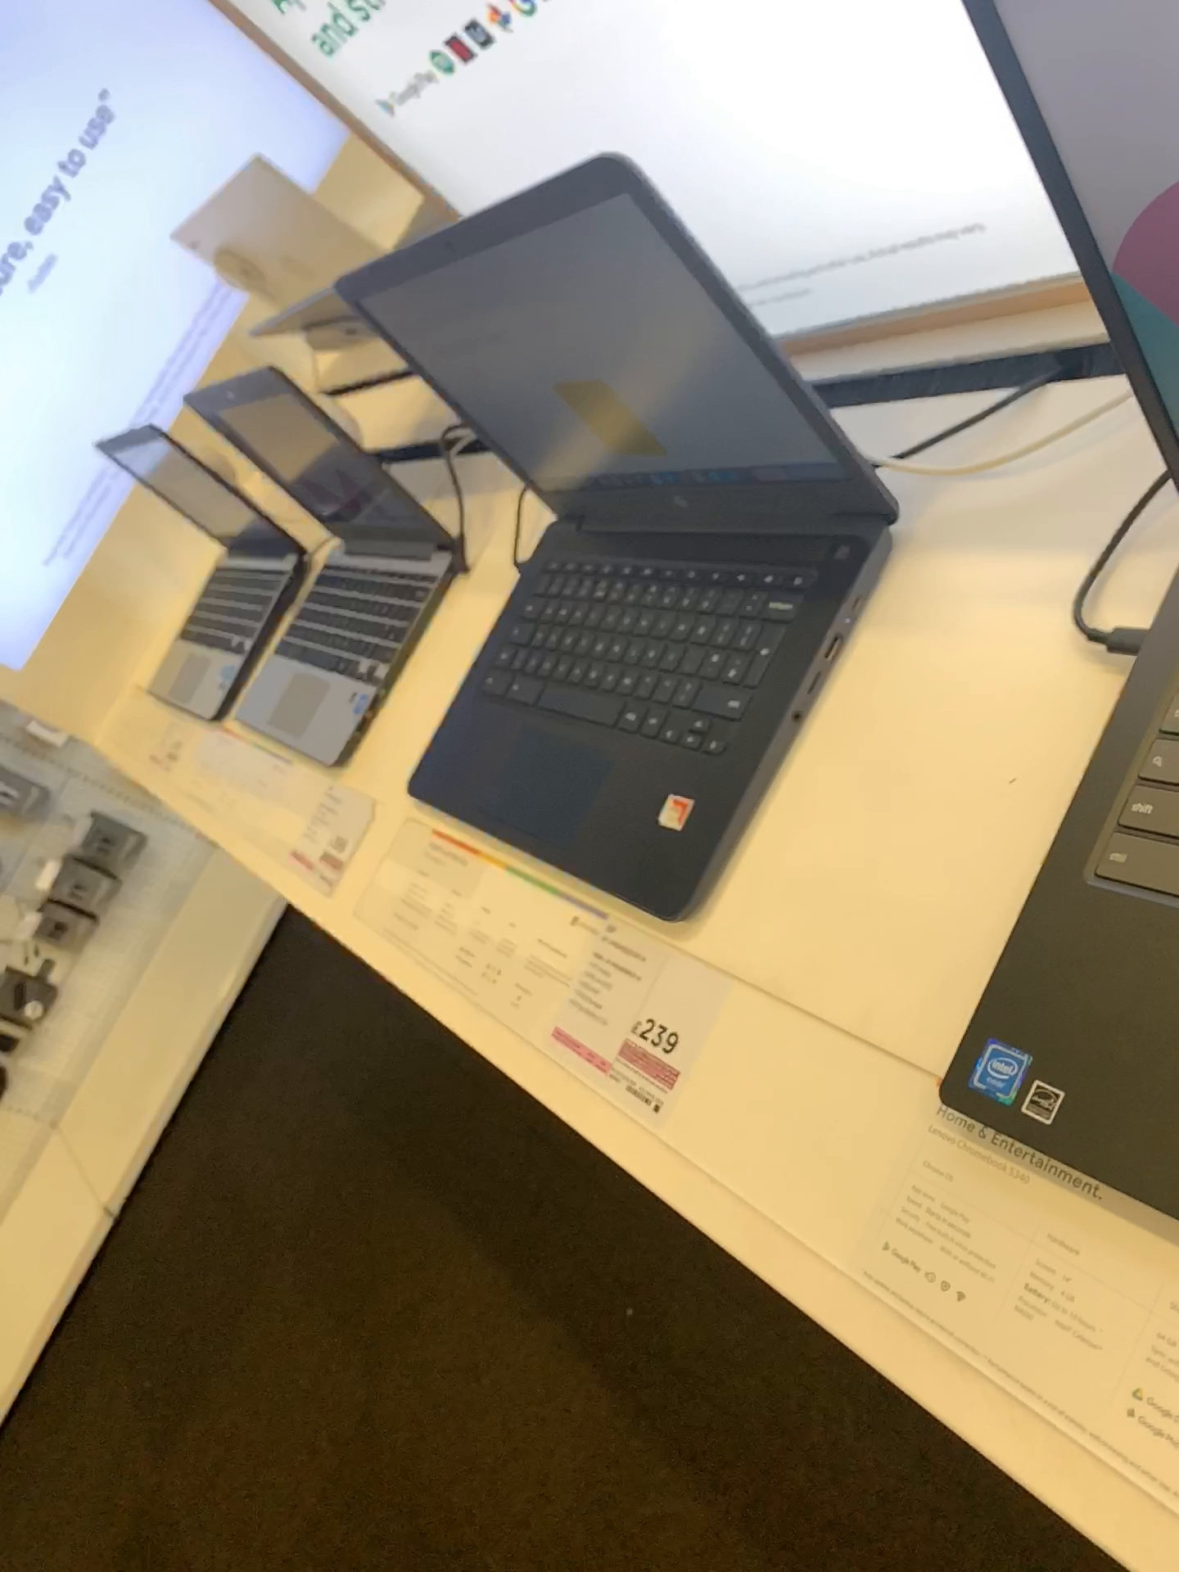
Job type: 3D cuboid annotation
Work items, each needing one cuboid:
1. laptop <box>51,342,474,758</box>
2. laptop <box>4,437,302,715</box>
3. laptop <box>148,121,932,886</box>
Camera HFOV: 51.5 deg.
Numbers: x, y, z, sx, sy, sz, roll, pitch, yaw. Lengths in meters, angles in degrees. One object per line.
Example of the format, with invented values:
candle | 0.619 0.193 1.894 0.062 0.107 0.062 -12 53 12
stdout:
laptop | -0.285 -0.196 1.034 0.272 0.186 0.241 16 77 56
laptop | -0.488 -0.228 1.336 0.336 0.189 0.191 20 81 58
laptop | -0.051 -0.137 0.667 0.333 0.209 0.244 19 79 58
